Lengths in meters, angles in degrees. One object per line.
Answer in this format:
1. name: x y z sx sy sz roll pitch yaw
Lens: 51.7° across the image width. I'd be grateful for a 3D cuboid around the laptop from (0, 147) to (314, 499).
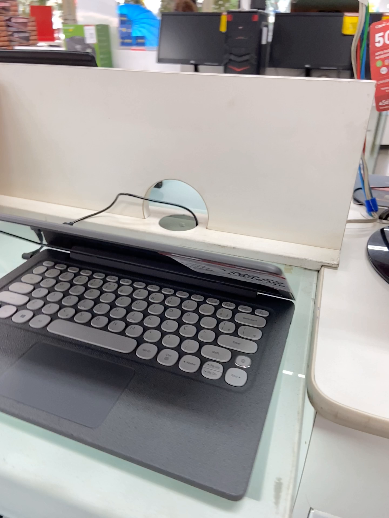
1. laptop: -0.082 0.010 0.347 0.316 0.132 0.213 11 31 18
